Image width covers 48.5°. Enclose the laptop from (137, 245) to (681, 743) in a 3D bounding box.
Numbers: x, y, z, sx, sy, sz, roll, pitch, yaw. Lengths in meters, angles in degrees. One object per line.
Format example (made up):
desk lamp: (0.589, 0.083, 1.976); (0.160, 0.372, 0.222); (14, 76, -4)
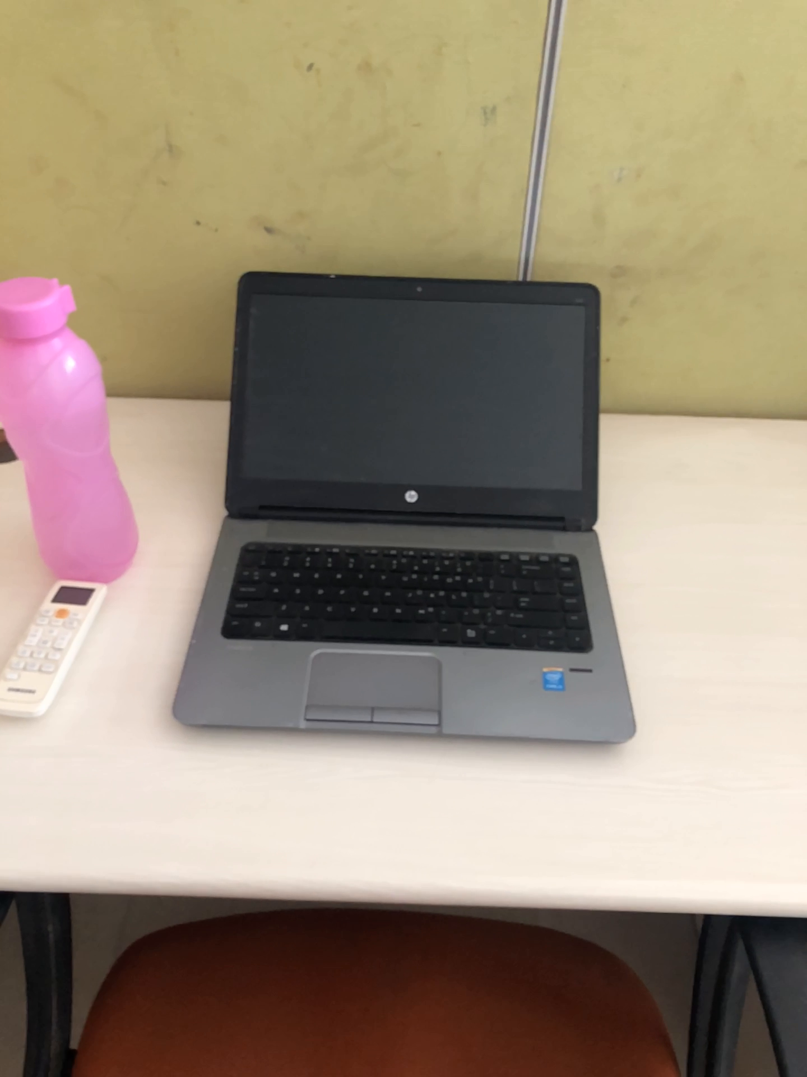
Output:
laptop: (0.007, -0.063, 0.727); (0.326, 0.147, 0.409); (2, 45, 1)
